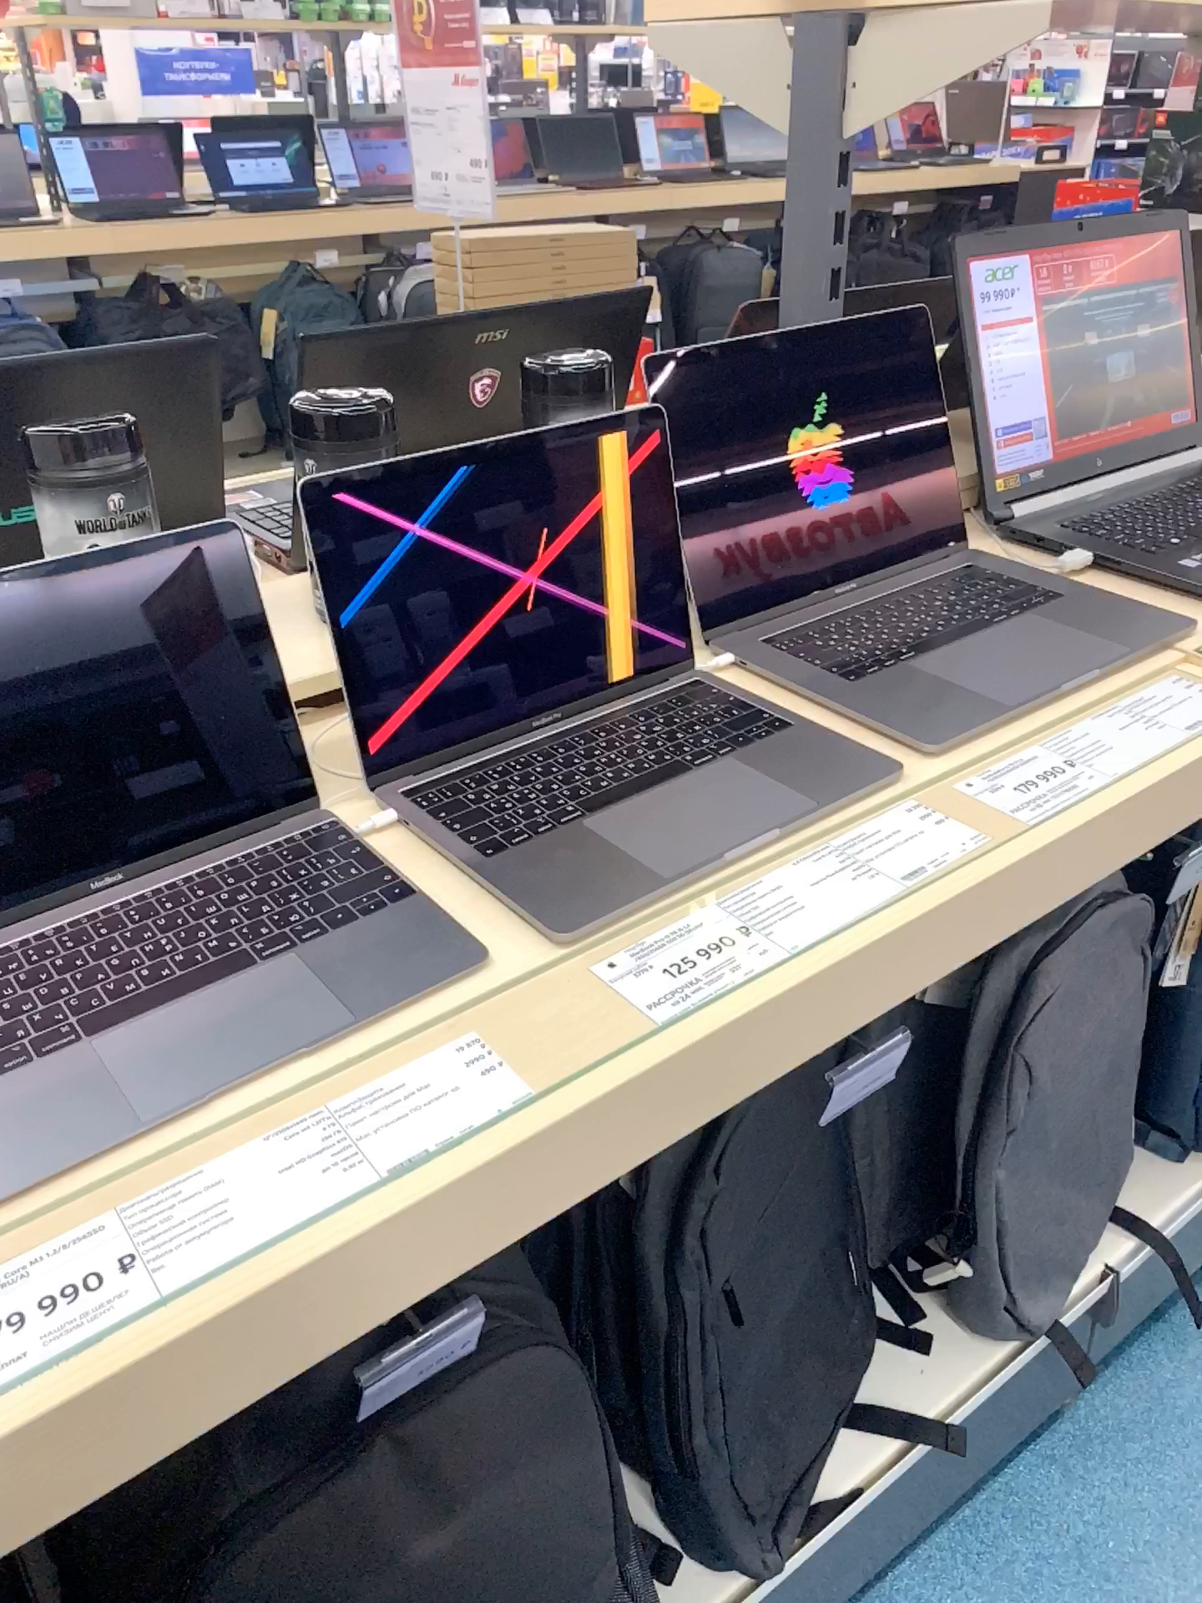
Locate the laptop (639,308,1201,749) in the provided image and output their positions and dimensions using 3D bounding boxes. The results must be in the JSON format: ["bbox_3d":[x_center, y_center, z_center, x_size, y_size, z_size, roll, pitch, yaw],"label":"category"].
[{"bbox_3d":[0.270,-0.252,1.016,0.347,0.210,0.328,-22,37,-31],"label":"laptop"}]

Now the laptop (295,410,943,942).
[{"bbox_3d":[0.011,-0.107,0.802,0.300,0.195,0.260,-23,38,-33],"label":"laptop"}]

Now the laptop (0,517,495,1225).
[{"bbox_3d":[-0.250,0.001,0.641,0.281,0.172,0.266,-23,39,-33],"label":"laptop"}]
